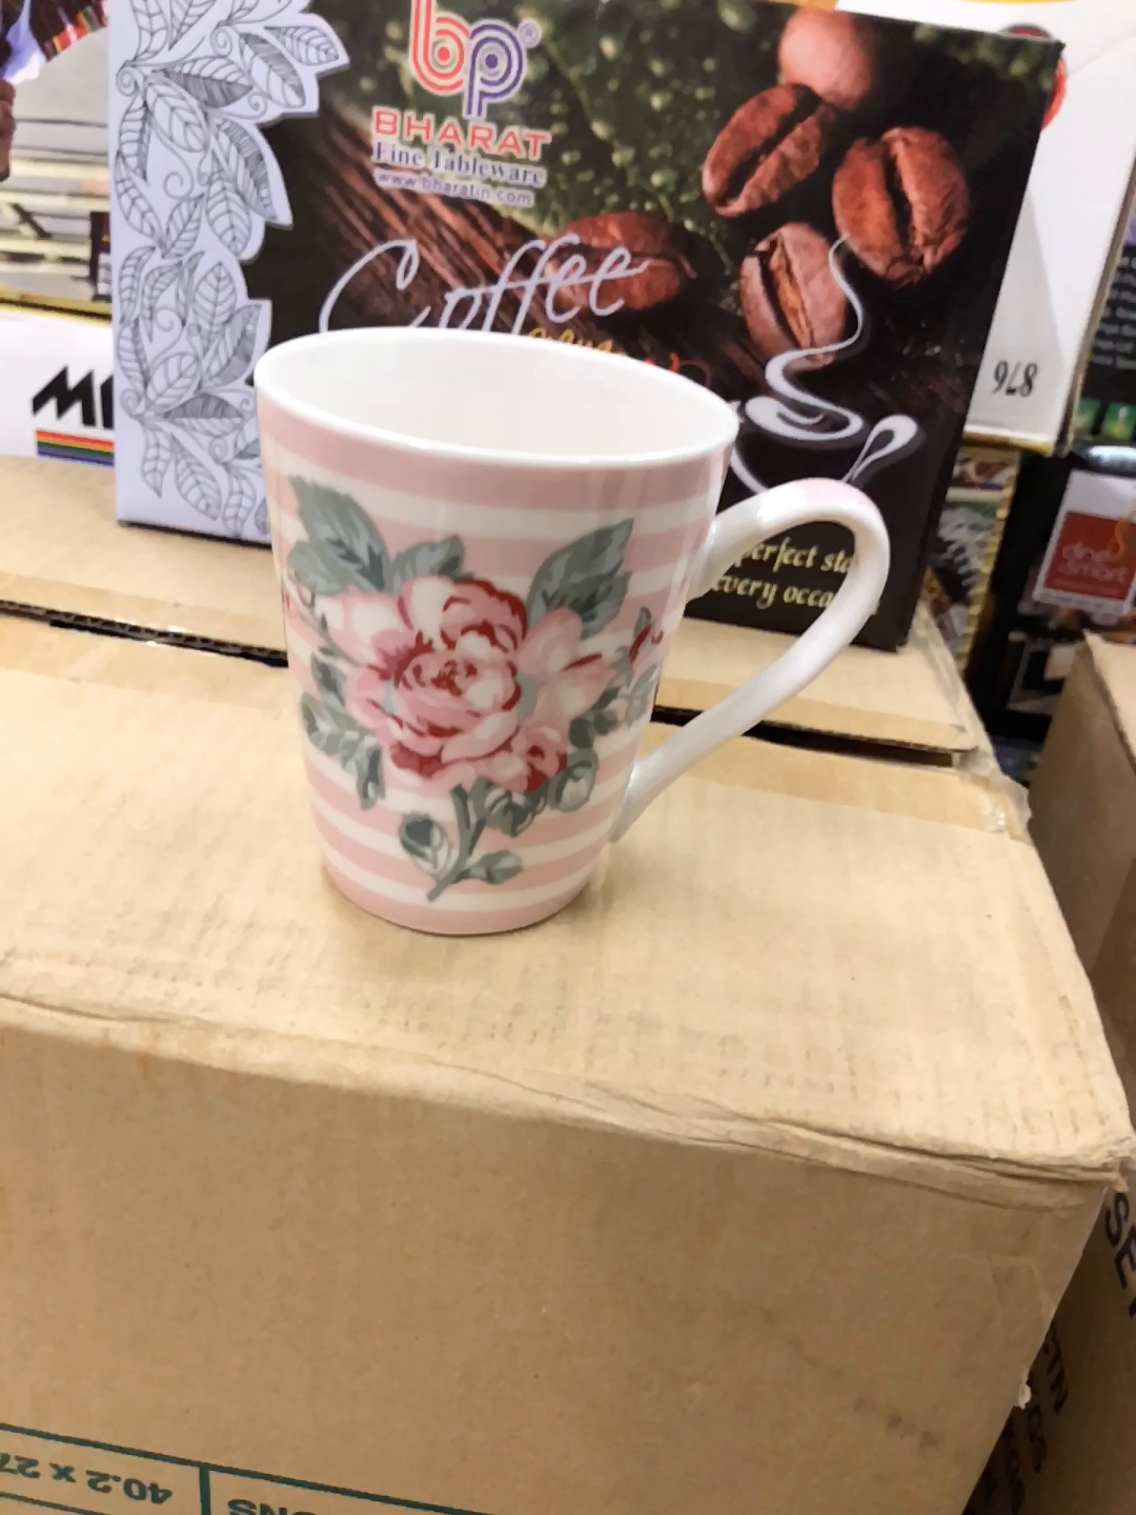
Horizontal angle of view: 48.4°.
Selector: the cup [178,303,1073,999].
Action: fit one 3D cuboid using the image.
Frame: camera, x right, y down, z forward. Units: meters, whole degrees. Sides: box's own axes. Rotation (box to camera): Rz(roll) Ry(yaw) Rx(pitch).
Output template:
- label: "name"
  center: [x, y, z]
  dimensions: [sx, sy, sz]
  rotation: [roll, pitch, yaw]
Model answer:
- label: "cup"
  center: [0.004, -0.024, 0.243]
  dimensions: [0.130, 0.089, 0.091]
  rotation: [6, 29, -4]
